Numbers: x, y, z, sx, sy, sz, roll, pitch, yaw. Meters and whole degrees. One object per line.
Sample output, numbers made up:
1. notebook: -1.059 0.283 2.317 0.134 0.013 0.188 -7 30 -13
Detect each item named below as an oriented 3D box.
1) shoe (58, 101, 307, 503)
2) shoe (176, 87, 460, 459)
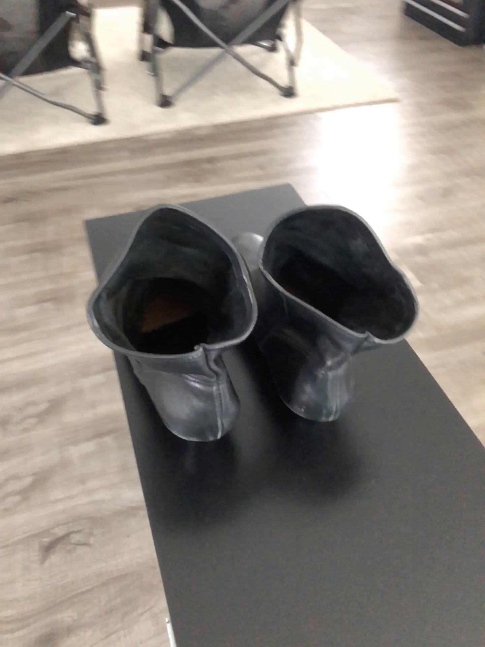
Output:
1. shoe: -0.057 -0.031 0.419 0.101 0.169 0.261 -15 47 -13
2. shoe: 0.035 -0.054 0.438 0.101 0.169 0.251 -15 47 -13
